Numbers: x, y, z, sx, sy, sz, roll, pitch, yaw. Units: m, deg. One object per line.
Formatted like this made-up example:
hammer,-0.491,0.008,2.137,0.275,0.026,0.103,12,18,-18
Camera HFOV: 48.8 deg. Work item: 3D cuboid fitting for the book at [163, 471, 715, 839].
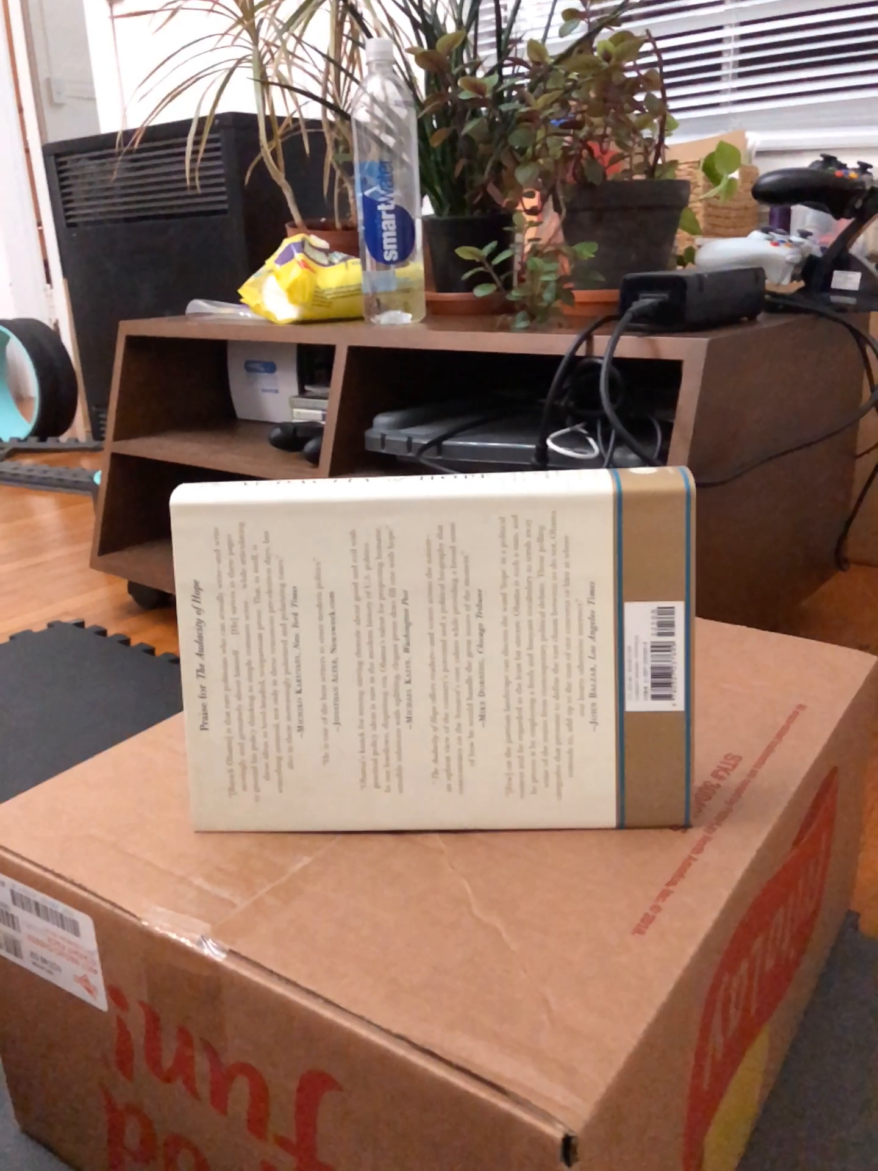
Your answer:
book,0.001,0.031,0.478,0.250,0.170,0.060,0,8,3
